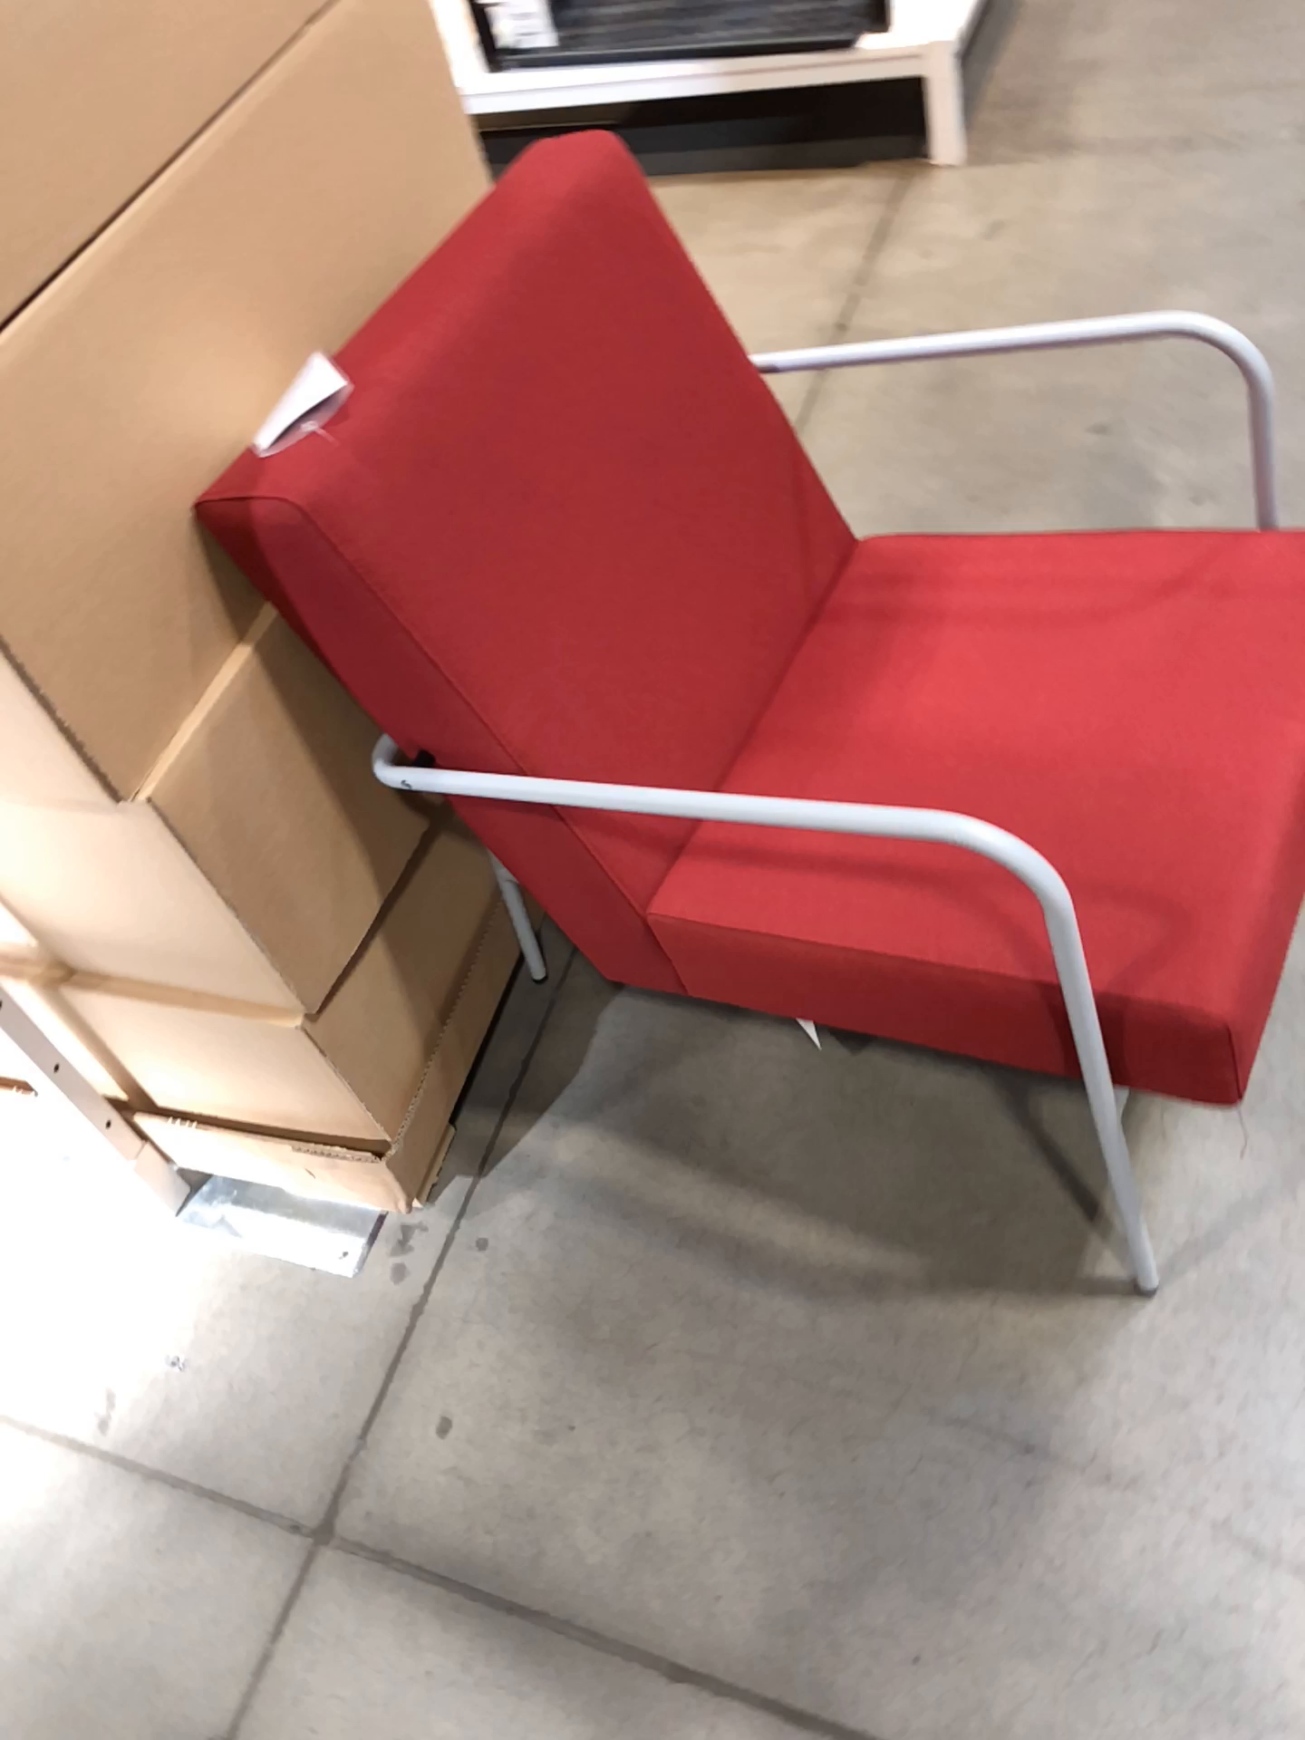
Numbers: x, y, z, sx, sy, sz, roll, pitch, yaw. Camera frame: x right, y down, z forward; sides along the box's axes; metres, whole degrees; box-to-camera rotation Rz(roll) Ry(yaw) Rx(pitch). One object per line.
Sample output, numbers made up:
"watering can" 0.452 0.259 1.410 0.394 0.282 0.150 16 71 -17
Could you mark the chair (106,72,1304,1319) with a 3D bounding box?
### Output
"chair" 0.168 -0.165 1.249 0.762 0.708 0.631 14 57 26
